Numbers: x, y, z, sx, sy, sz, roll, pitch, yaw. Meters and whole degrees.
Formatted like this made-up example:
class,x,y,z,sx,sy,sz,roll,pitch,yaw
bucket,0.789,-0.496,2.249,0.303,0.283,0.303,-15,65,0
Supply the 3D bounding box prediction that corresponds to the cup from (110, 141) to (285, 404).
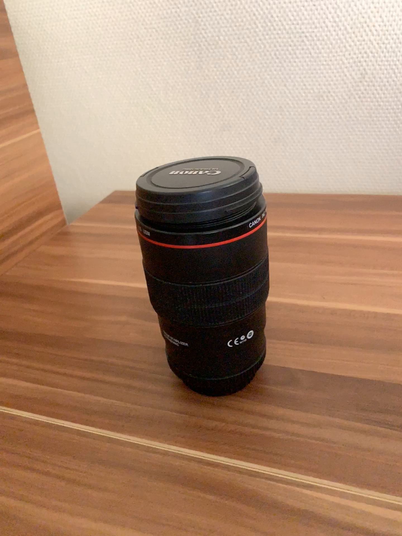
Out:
class,x,y,z,sx,sy,sz,roll,pitch,yaw
cup,0.006,0.005,0.256,0.080,0.139,0.070,-4,31,5
